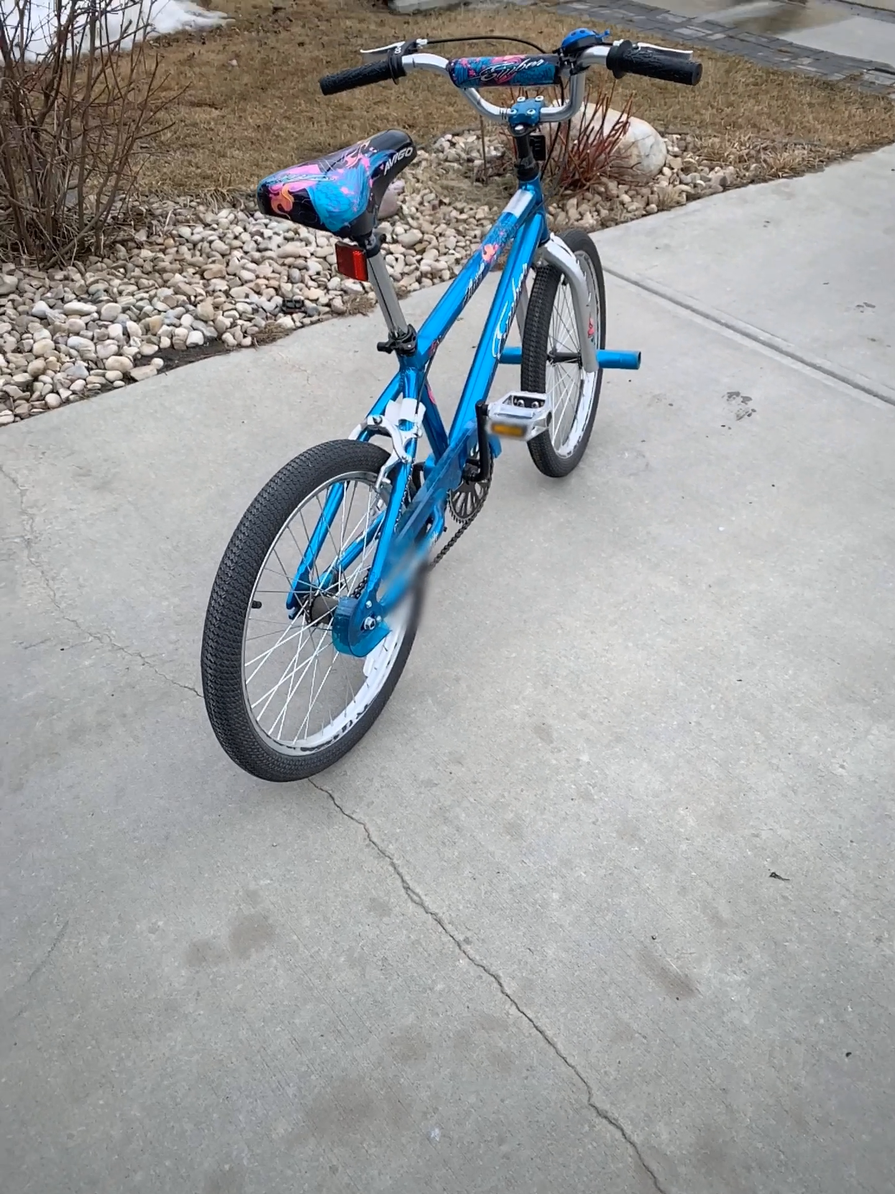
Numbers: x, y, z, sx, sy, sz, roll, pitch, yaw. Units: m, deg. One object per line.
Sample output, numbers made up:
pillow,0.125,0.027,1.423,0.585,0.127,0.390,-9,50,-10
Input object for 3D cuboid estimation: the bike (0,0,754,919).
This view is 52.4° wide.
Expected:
bike,-0.061,-0.415,1.528,0.682,0.837,1.390,19,47,18
